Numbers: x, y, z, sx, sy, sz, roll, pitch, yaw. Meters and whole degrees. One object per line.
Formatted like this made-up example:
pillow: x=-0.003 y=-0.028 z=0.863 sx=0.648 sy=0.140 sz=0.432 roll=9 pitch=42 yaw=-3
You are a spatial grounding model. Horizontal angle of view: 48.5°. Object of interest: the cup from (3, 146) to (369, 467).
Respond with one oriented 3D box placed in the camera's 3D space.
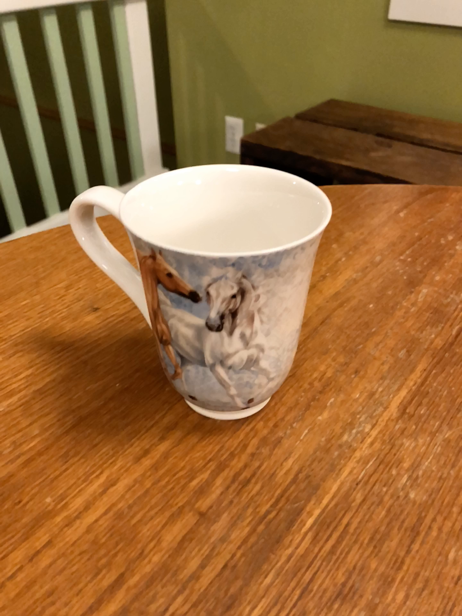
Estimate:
cup: x=-0.016 y=-0.008 z=0.247 sx=0.133 sy=0.098 sz=0.083 roll=14 pitch=39 yaw=19
